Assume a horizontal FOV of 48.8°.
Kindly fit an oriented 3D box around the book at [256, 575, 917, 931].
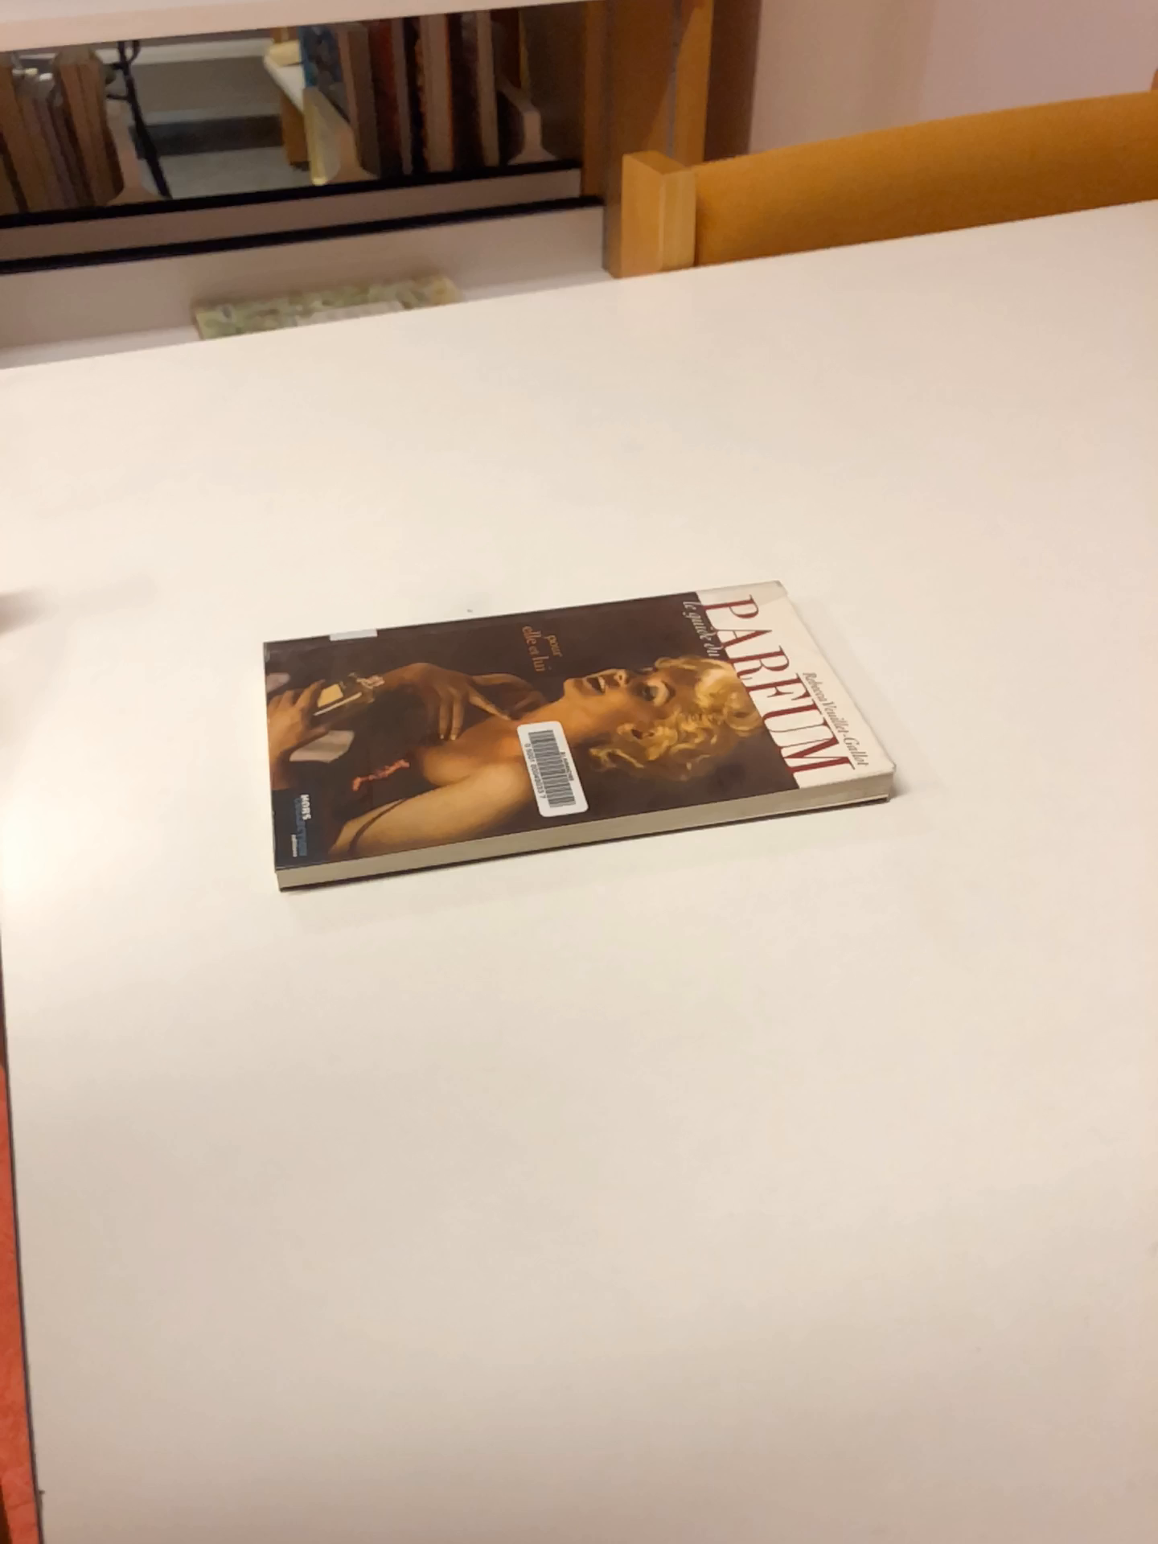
[{"bbox_3d":[-0.006,-0.016,0.459,0.210,0.020,0.134,-8,41,-10],"label":"book"}]
